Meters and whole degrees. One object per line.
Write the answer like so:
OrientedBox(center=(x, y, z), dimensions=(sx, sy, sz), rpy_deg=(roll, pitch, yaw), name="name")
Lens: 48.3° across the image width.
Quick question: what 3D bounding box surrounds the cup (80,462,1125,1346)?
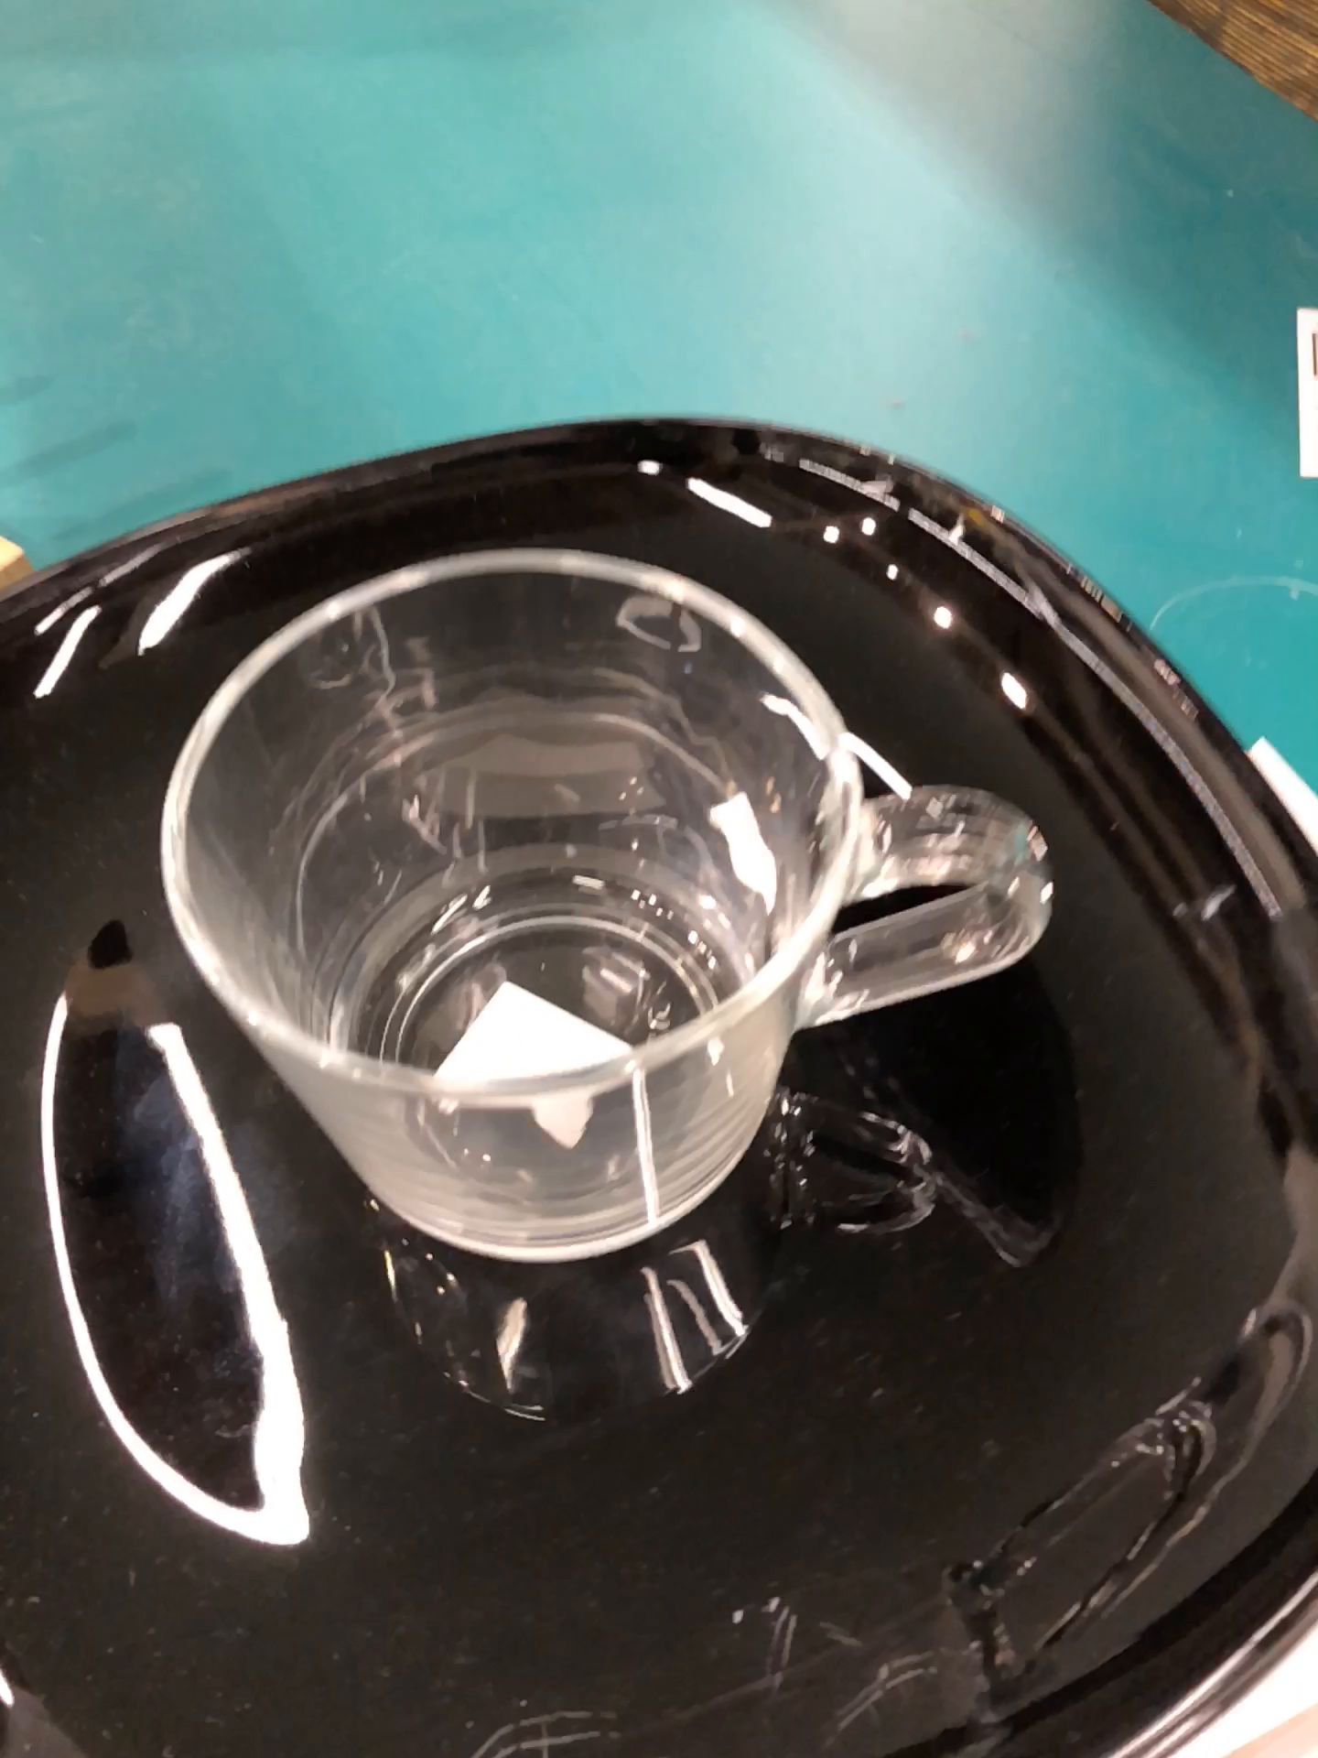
OrientedBox(center=(-0.012, 0.002, 0.264), dimensions=(0.140, 0.080, 0.120), rpy_deg=(-6, 53, -3), name="cup")
